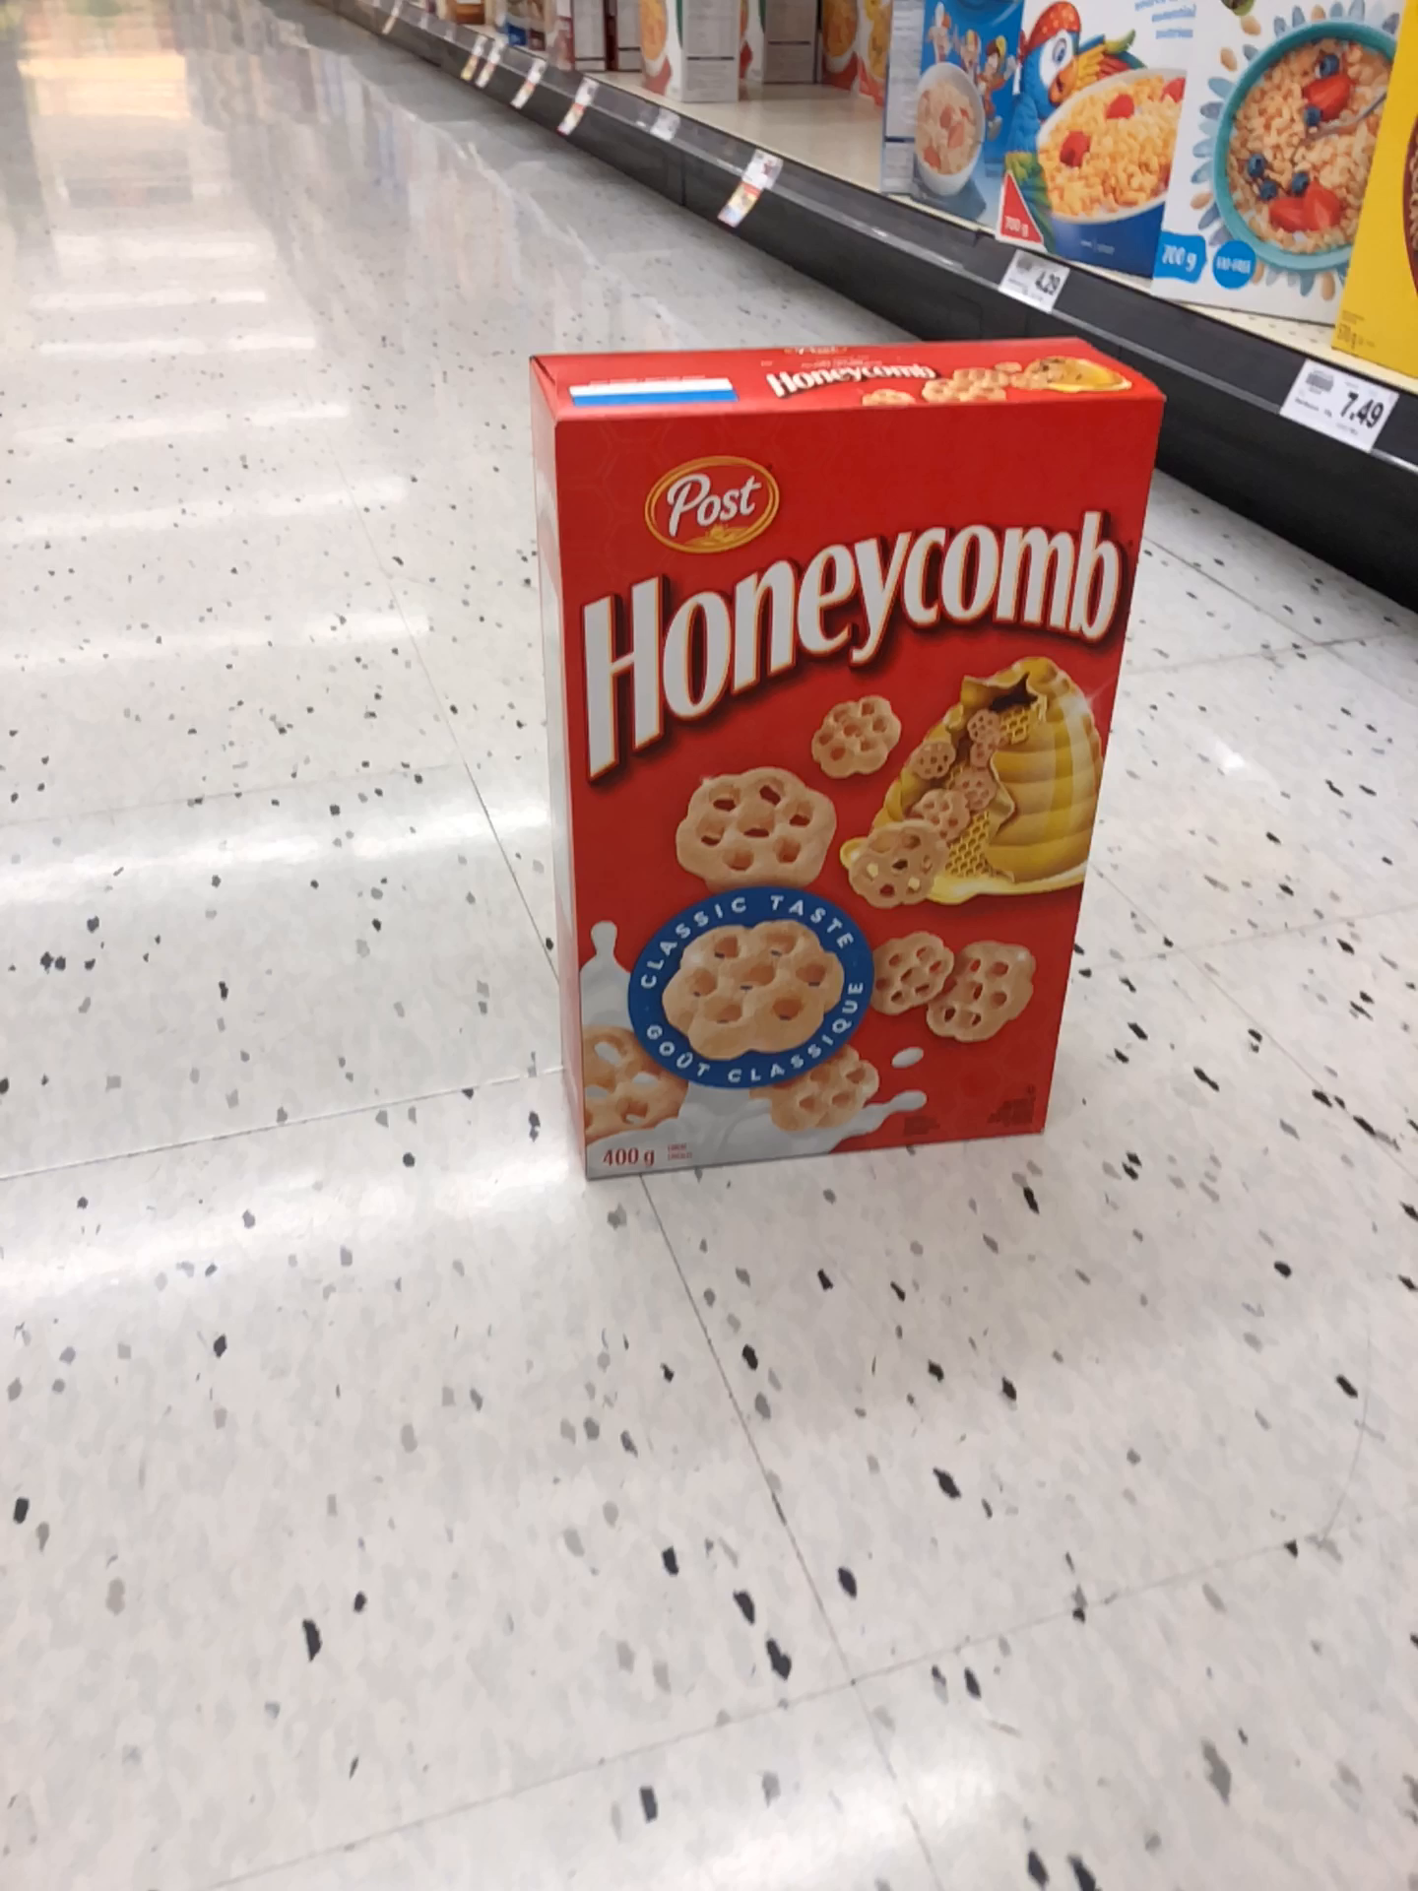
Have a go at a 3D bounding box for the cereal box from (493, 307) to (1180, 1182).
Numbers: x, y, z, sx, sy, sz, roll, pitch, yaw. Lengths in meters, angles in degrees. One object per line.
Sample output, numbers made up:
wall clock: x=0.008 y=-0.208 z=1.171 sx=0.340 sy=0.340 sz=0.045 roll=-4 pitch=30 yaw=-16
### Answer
cereal box: x=0.033 y=-0.064 z=0.565 sx=0.200 sy=0.298 sz=0.080 roll=-5 pitch=34 yaw=-9
